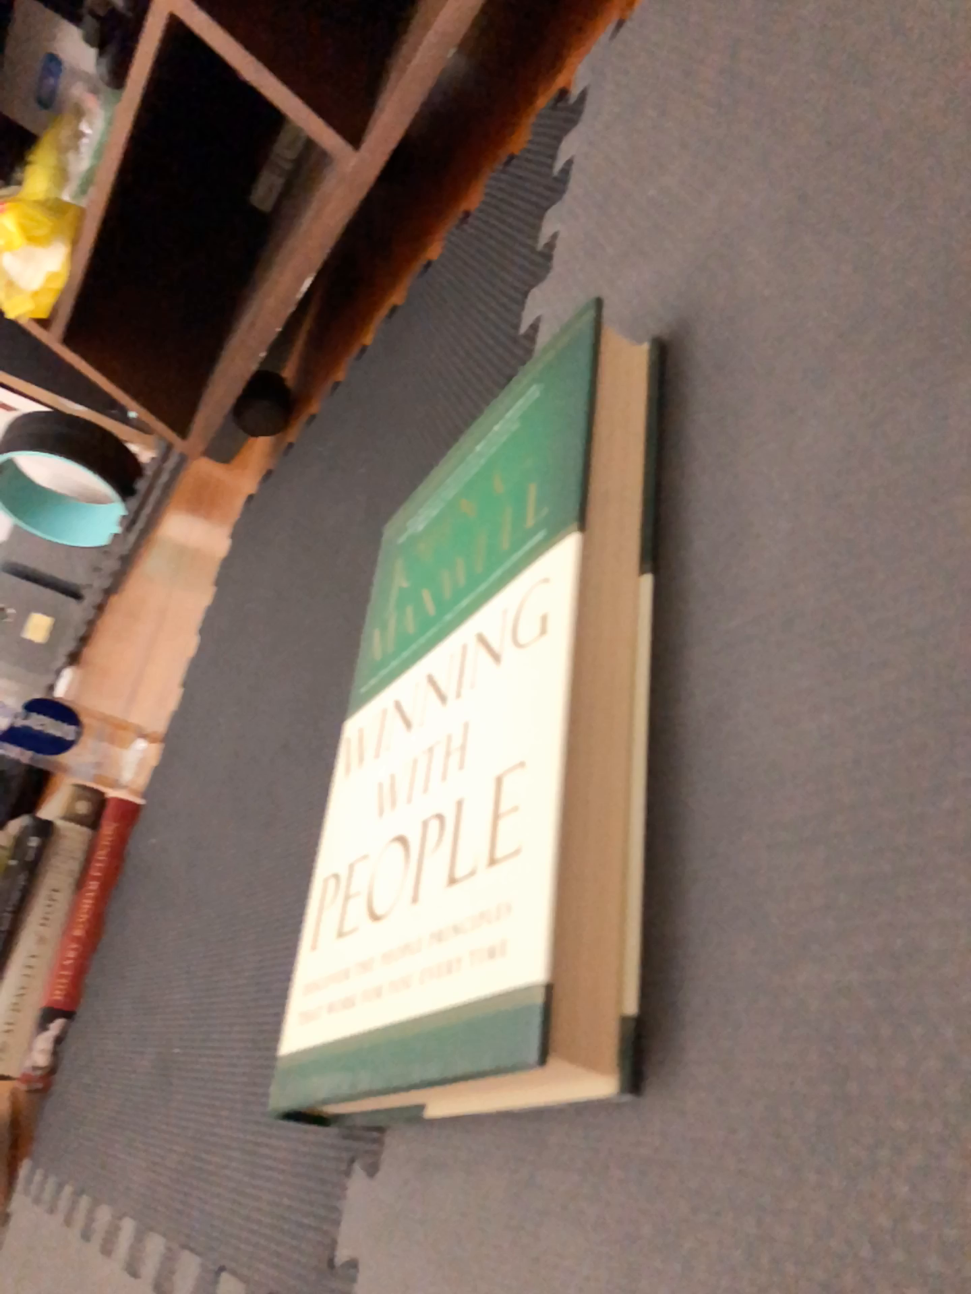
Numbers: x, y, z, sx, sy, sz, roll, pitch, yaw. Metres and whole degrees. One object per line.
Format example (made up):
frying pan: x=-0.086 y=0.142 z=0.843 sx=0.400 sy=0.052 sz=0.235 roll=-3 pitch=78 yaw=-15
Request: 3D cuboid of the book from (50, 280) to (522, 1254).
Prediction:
book: x=-0.072 y=0.040 z=0.379 sx=0.200 sy=0.030 sz=0.291 roll=-36 pitch=38 yaw=52
